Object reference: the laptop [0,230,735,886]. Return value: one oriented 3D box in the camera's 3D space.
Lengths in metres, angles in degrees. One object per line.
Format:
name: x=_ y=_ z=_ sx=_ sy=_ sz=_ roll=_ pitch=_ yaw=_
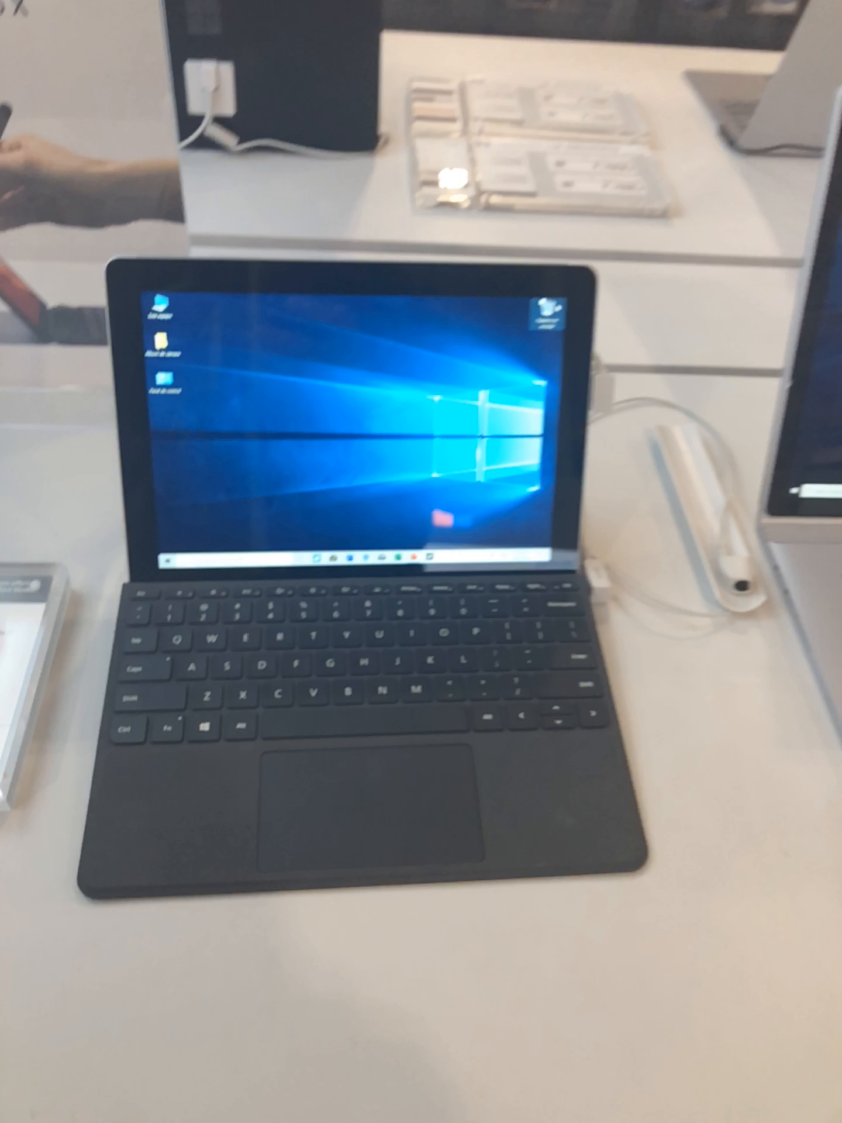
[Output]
laptop: x=-0.029 y=-0.012 z=0.429 sx=0.236 sy=0.140 sz=0.251 roll=-1 pitch=49 yaw=-8
